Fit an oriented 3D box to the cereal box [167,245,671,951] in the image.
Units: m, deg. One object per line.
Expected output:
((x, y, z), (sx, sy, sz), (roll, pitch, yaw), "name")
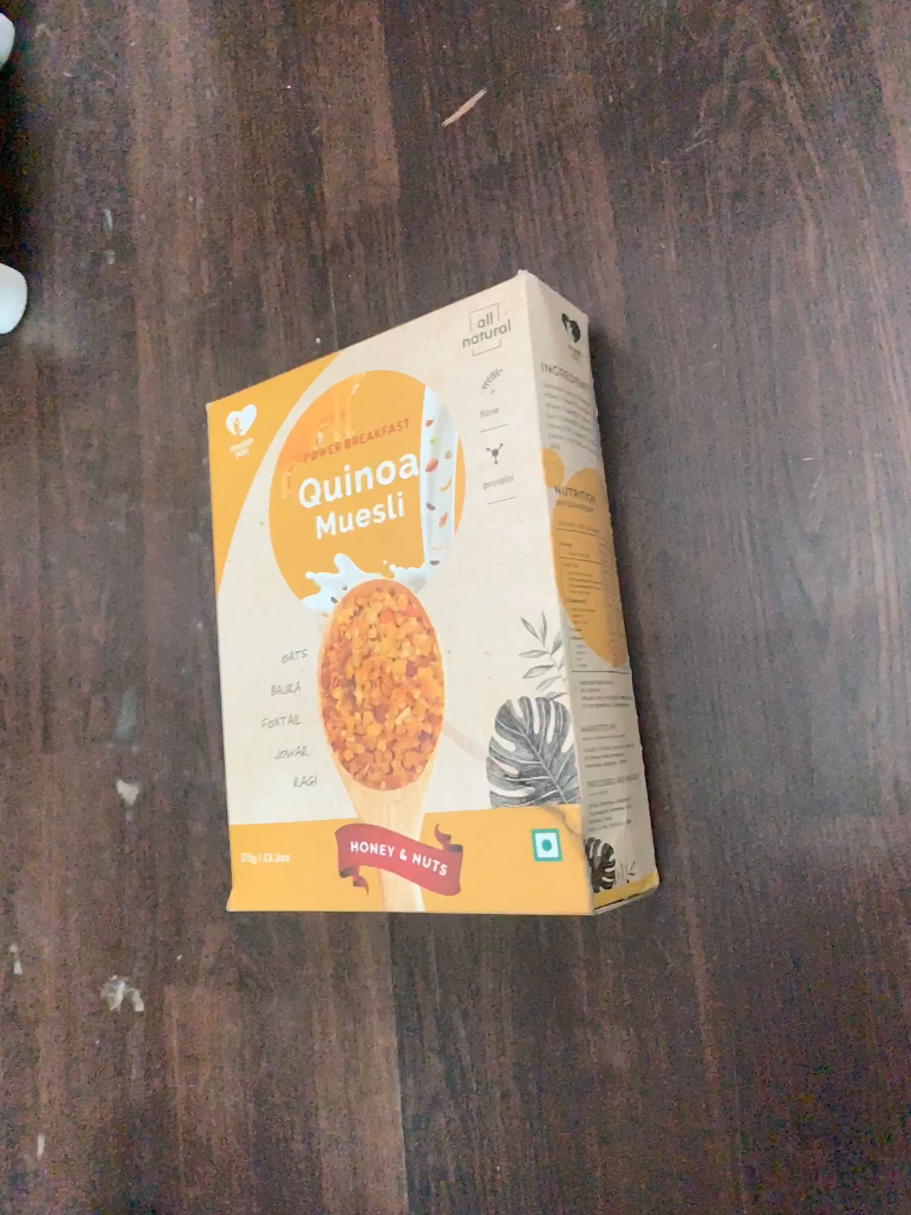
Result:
((-0.024, 0.006, 0.359), (0.171, 0.060, 0.220), (-11, 82, 34), "cereal box")
